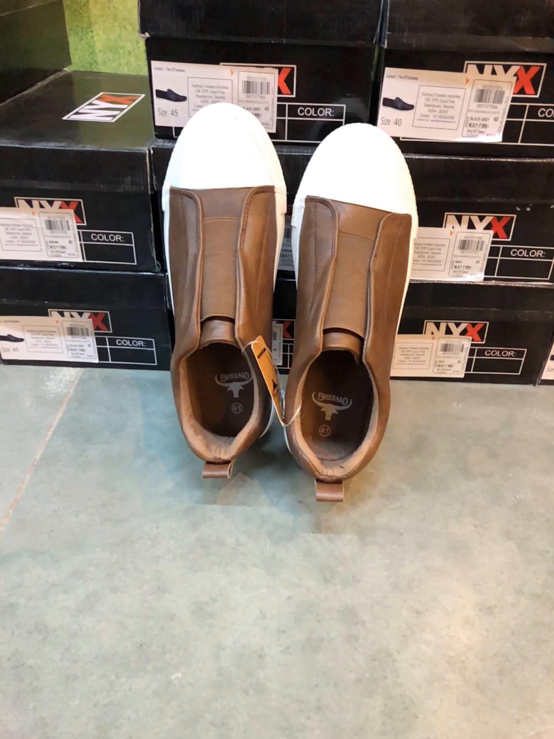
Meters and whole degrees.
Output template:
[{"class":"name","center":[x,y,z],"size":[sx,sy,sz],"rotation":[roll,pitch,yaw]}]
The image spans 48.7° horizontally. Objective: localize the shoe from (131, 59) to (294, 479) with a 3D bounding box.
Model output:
[{"class":"shoe","center":[-0.041,-0.066,0.447],"size":[0.098,0.269,0.103],"rotation":[2,-1,1]}]

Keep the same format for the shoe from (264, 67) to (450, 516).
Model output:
[{"class":"shoe","center":[0.053,-0.049,0.427],"size":[0.096,0.272,0.100],"rotation":[4,-2,3]}]
